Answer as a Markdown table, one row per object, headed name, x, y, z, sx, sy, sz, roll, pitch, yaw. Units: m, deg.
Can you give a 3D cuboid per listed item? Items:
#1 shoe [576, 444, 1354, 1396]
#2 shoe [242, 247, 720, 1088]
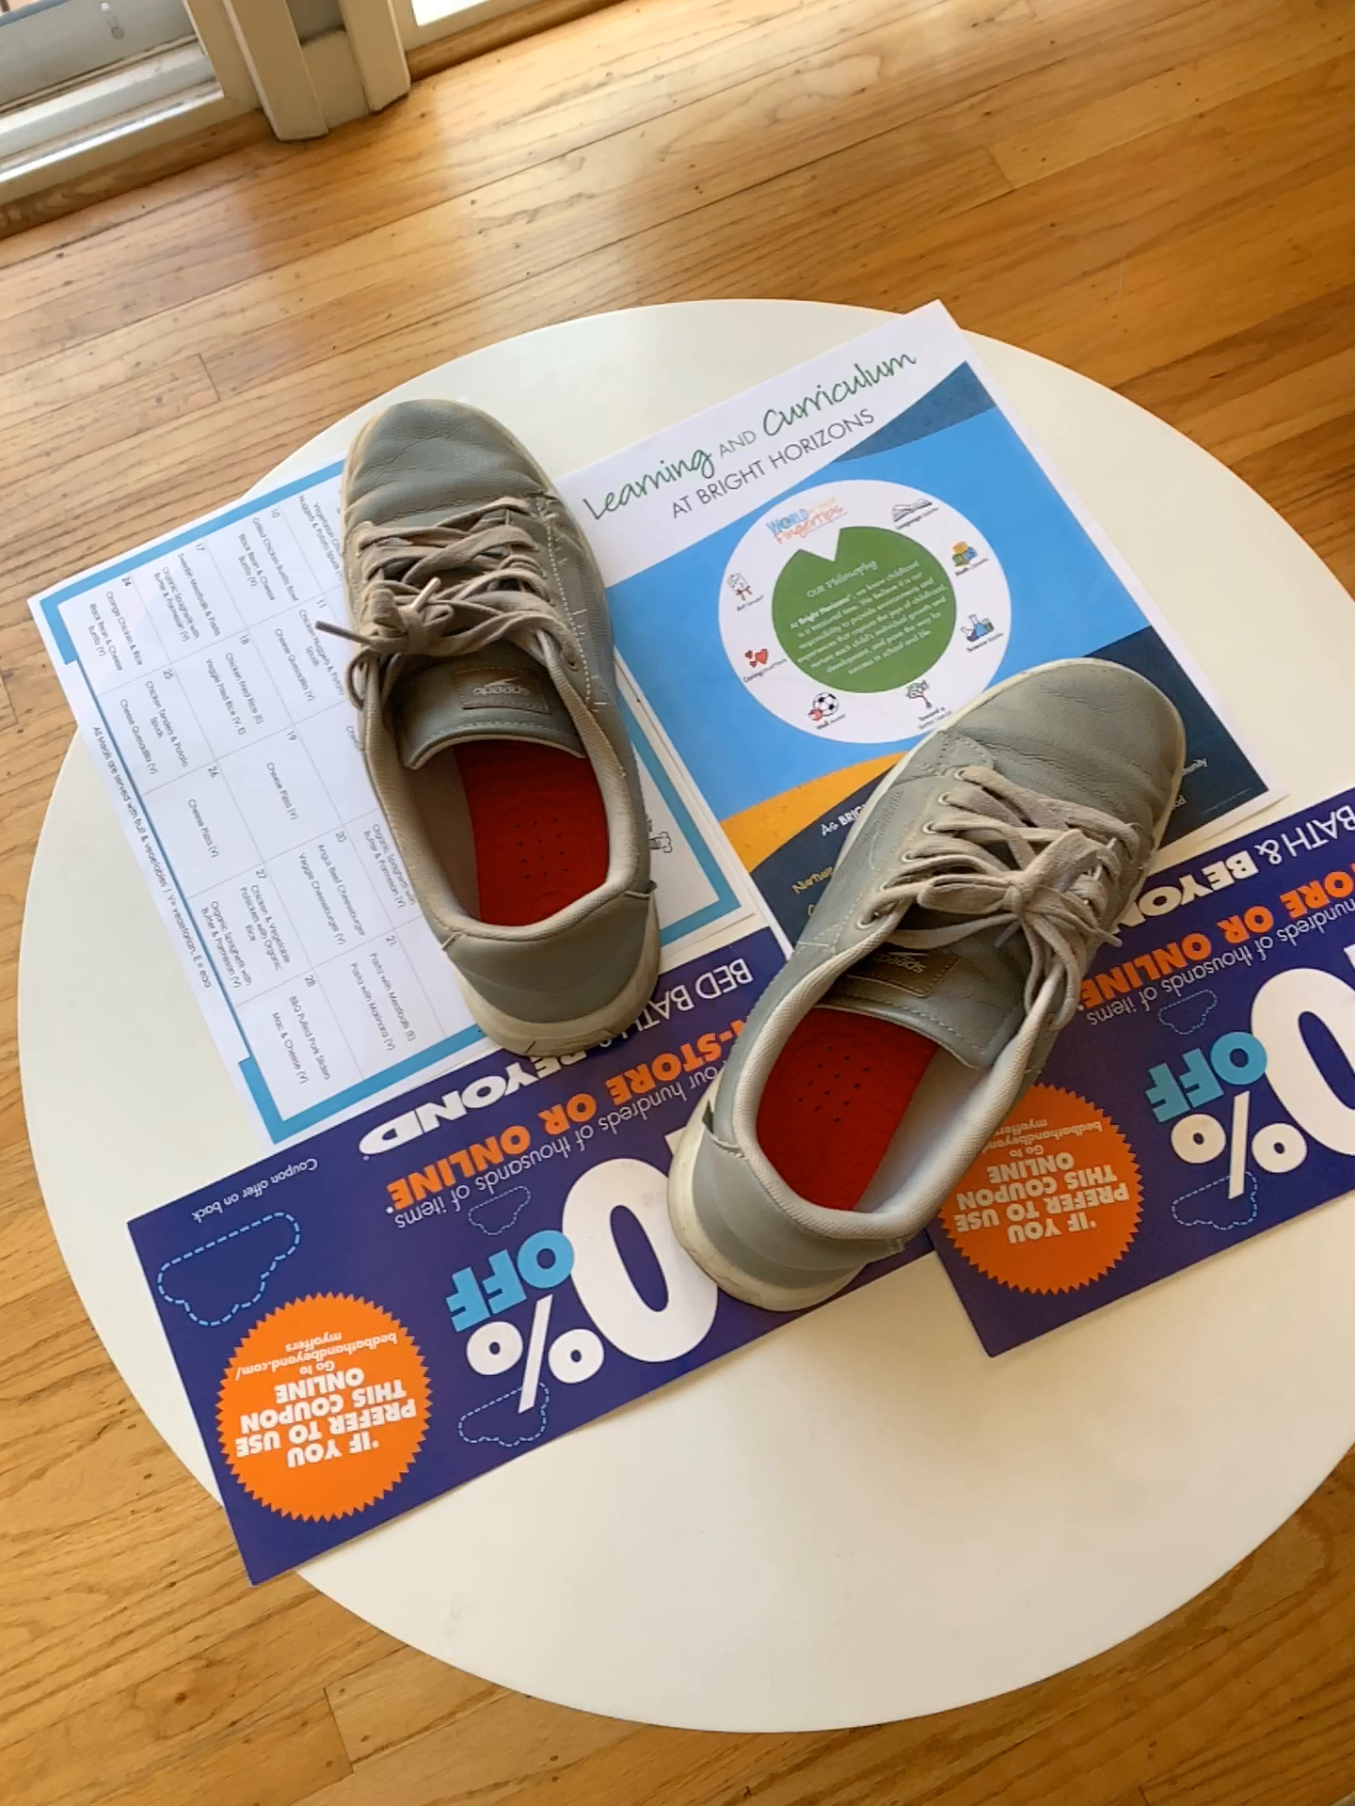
| name | x | y | z | sx | sy | sz | roll | pitch | yaw |
| --- | --- | --- | --- | --- | --- | --- | --- | --- | --- |
| shoe | 0.097 | 0.007 | 0.451 | 0.100 | 0.110 | 0.280 | 35 | 77 | 12 |
| shoe | -0.070 | -0.084 | 0.504 | 0.100 | 0.100 | 0.270 | -15 | 73 | -3 |
